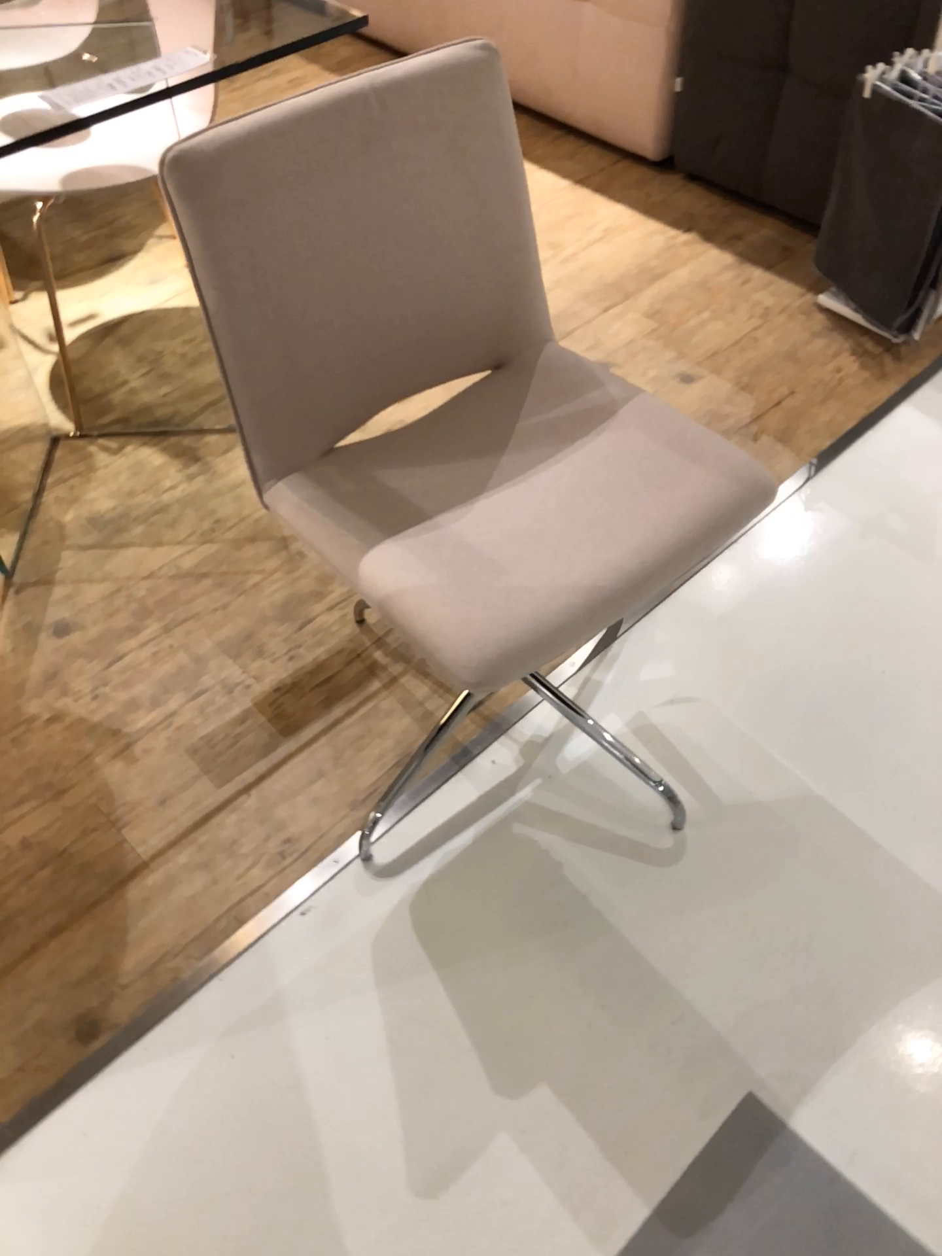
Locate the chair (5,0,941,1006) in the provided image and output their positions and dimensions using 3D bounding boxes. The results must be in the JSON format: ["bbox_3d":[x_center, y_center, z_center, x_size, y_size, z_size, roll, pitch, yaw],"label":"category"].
[{"bbox_3d":[0.035,-0.157,1.206,0.652,0.745,0.633,-34,56,-25],"label":"chair"}]
